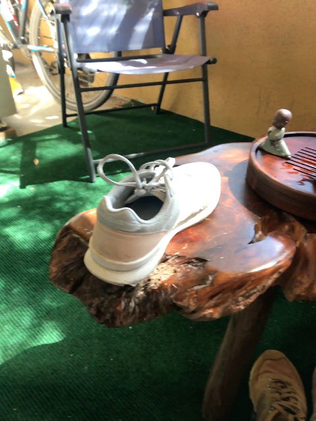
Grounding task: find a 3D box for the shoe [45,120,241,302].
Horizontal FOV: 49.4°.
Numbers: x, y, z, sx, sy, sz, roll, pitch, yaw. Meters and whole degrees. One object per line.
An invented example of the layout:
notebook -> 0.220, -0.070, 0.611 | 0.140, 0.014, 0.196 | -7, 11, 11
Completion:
shoe -> -0.001, -0.021, 0.456 | 0.102, 0.091, 0.265 | 24, 44, 29
